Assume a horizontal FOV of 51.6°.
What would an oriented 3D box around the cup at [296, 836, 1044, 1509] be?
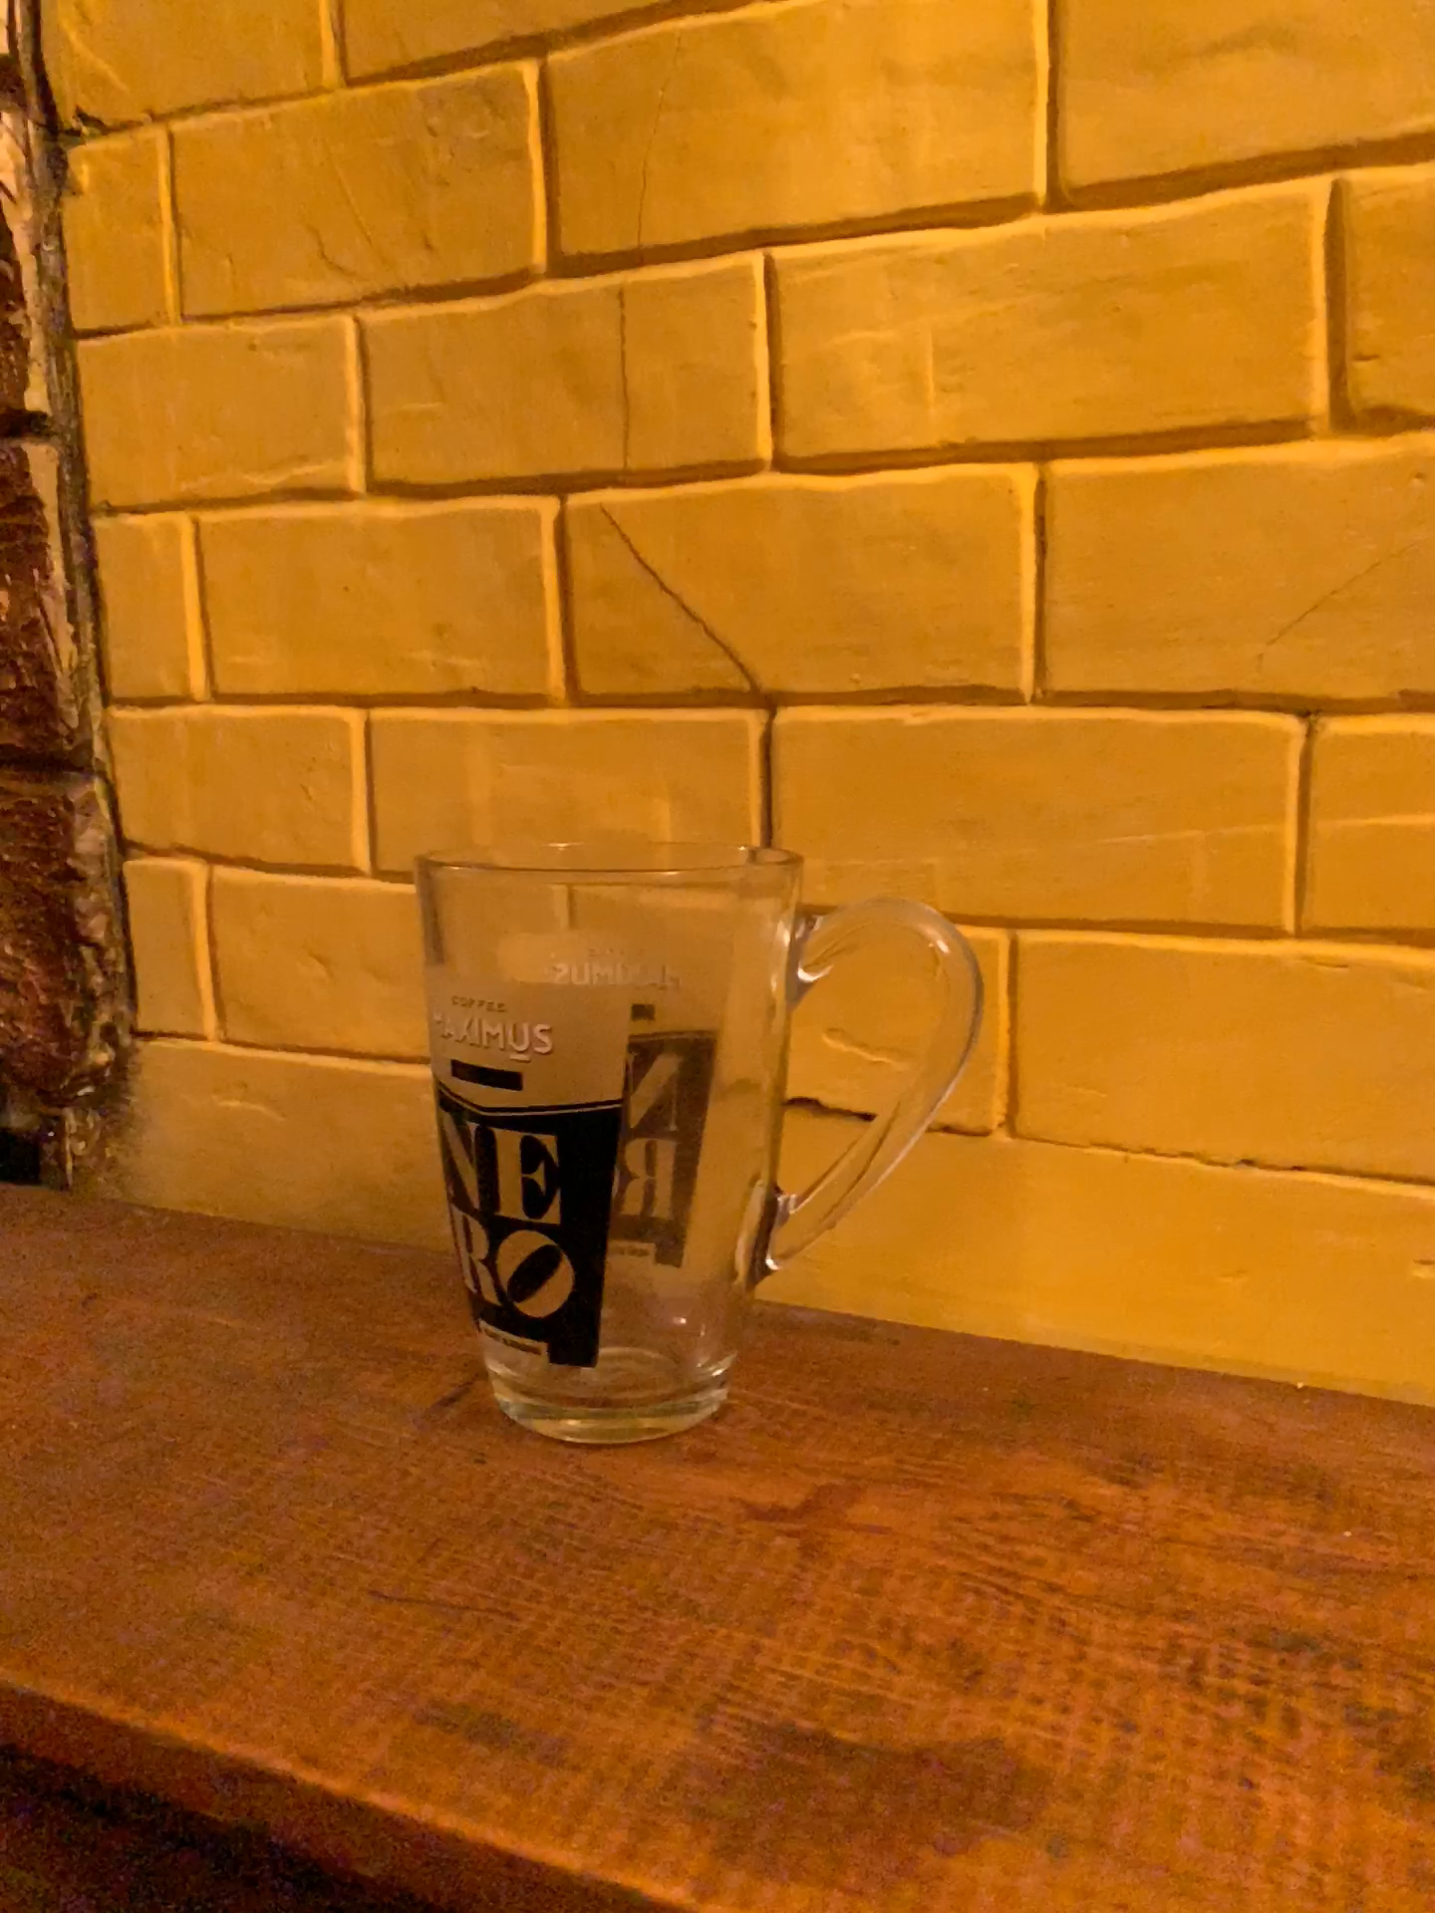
[{"bbox_3d":[-0.002,0.032,0.302,0.124,0.099,0.093,3,12,17],"label":"cup"}]
